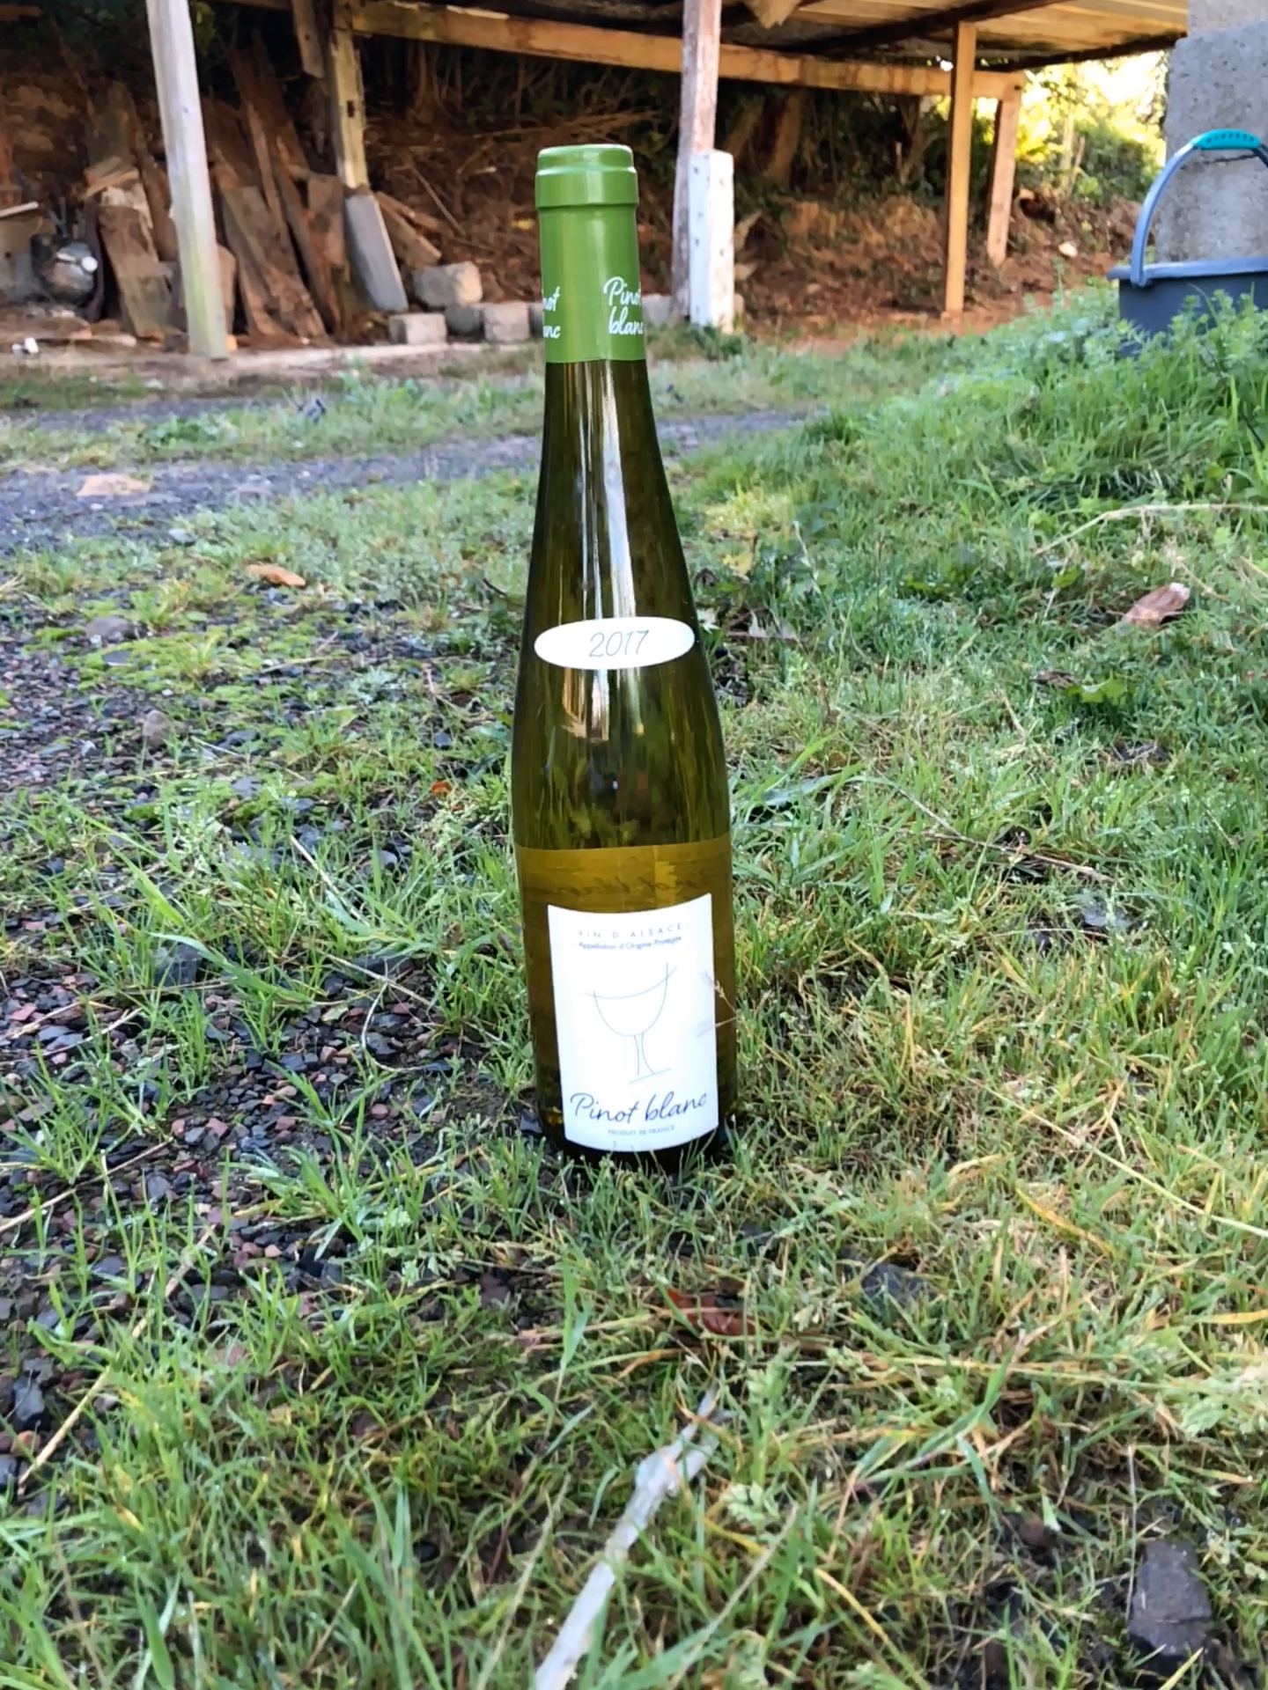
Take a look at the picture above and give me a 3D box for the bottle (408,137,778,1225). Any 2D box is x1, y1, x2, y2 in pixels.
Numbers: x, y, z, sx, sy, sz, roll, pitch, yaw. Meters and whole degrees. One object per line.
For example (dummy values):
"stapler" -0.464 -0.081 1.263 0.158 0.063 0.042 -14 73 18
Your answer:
"bottle" -0.011 -0.045 0.450 0.090 0.318 0.090 -2 20 1
